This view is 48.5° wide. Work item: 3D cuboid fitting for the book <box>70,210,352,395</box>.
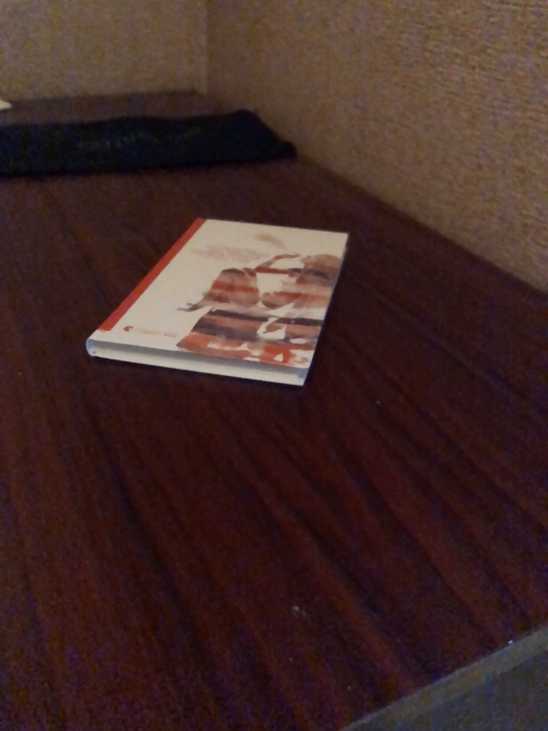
[{"bbox_3d":[-0.028,-0.063,0.458,0.150,0.020,0.229,8,34,9],"label":"book"}]
